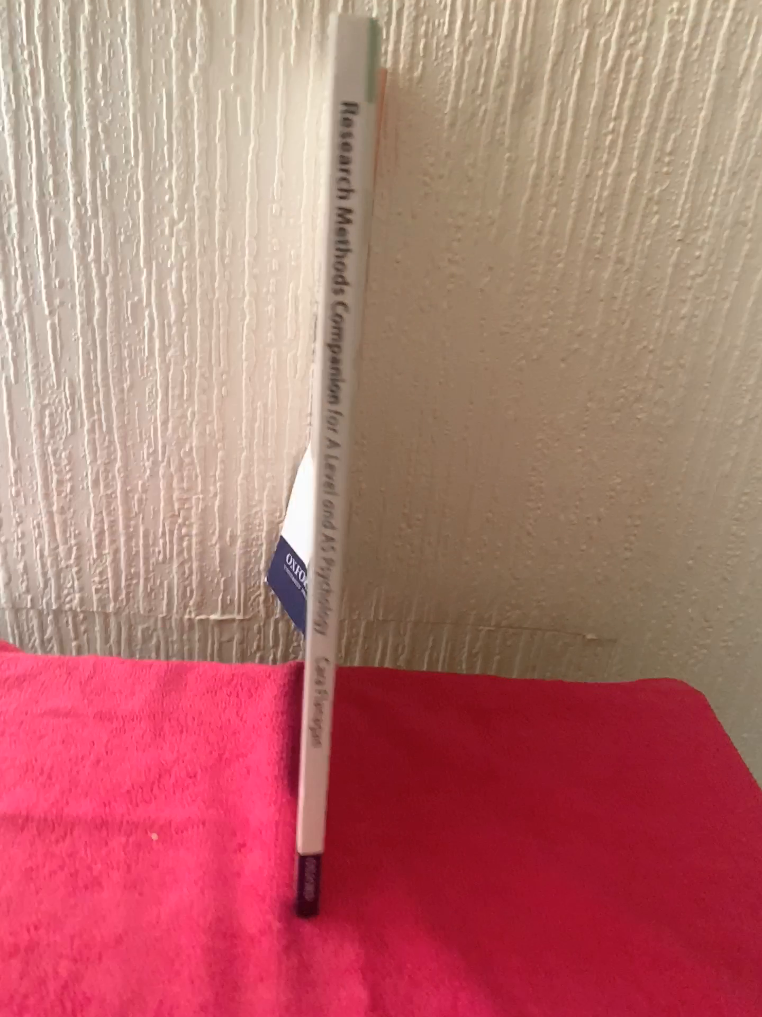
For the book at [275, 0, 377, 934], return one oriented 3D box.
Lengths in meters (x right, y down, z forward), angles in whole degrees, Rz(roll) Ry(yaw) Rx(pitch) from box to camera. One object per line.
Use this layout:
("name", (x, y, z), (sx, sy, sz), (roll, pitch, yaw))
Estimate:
("book", (-0.019, -0.034, 0.329), (0.020, 0.287, 0.252), (2, 26, -2))
